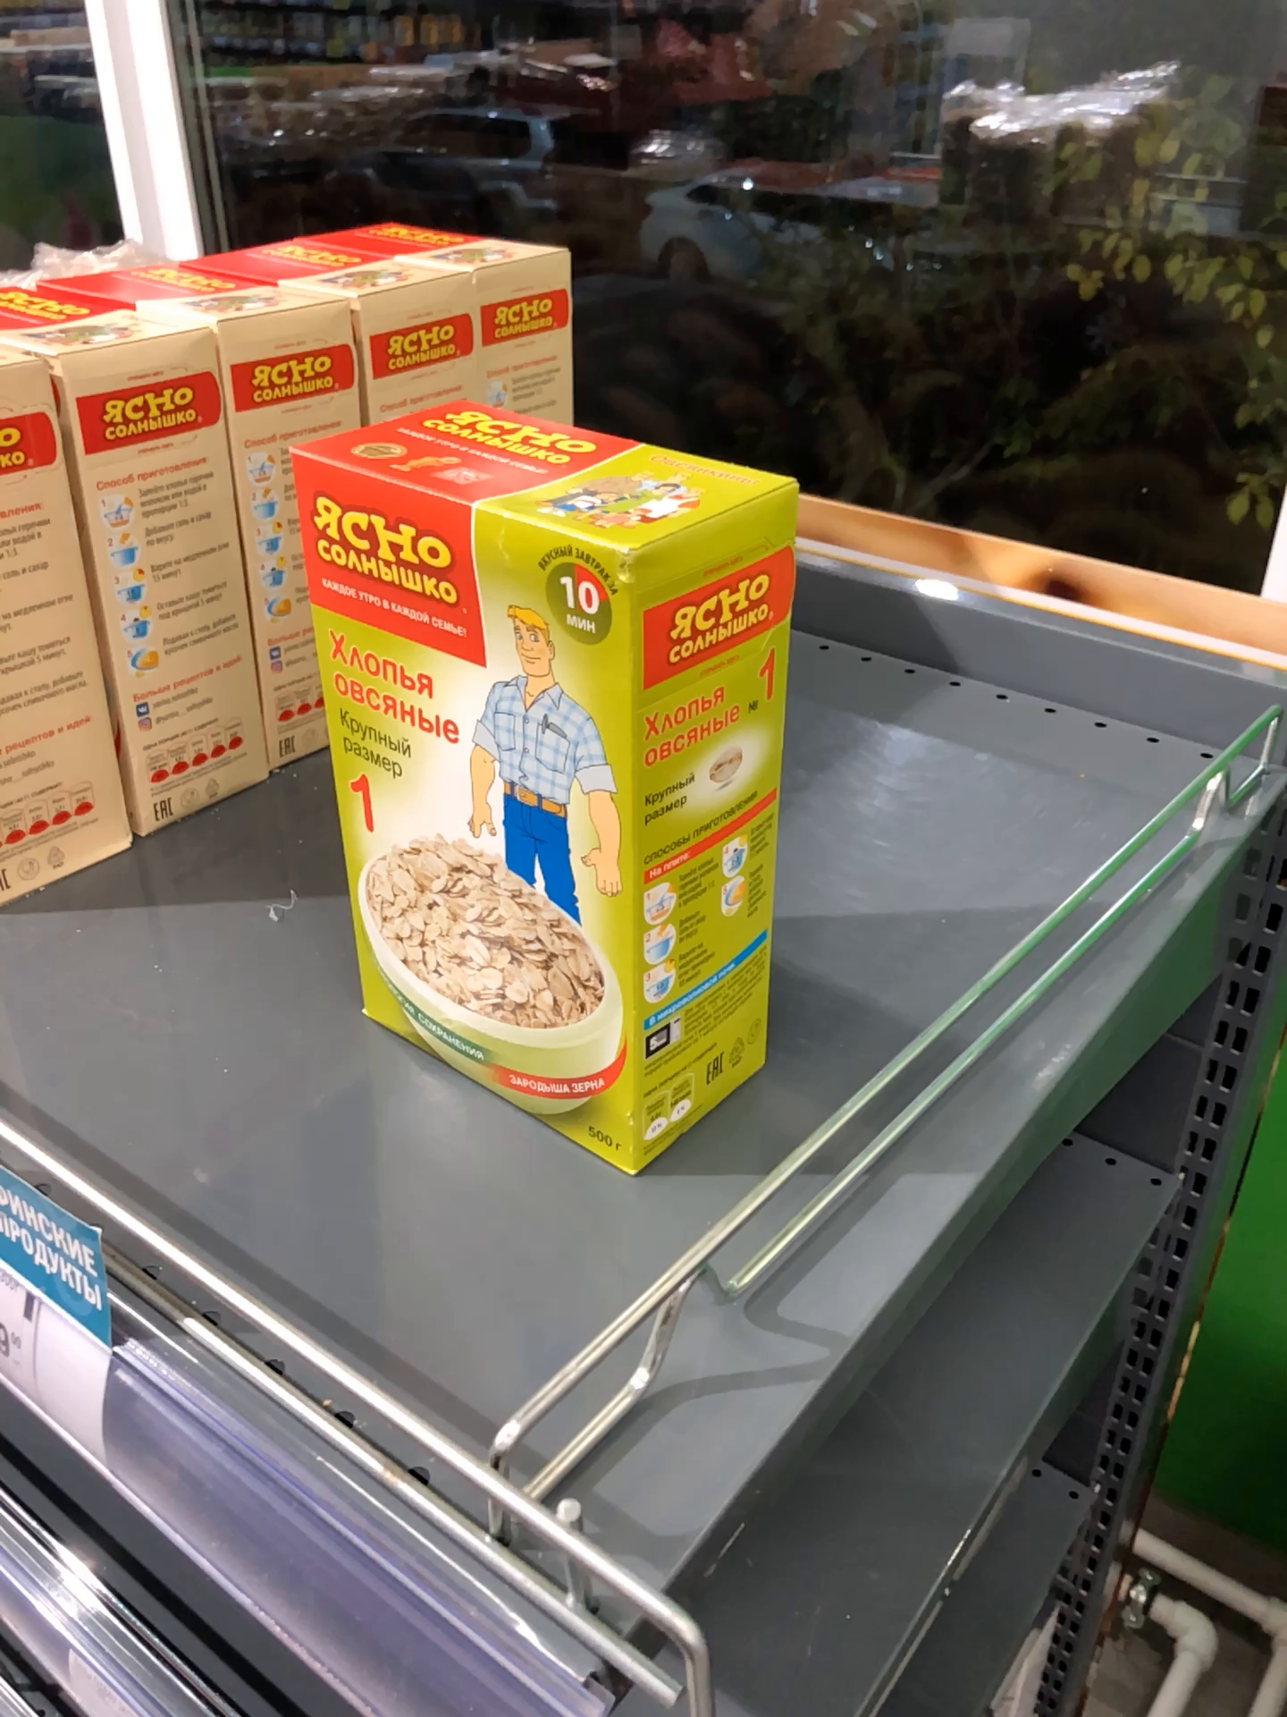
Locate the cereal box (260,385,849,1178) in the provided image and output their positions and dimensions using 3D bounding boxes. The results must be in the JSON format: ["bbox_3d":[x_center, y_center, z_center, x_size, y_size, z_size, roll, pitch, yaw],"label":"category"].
[{"bbox_3d":[-0.025,-0.026,0.408,0.130,0.179,0.080,24,39,33],"label":"cereal box"}]
